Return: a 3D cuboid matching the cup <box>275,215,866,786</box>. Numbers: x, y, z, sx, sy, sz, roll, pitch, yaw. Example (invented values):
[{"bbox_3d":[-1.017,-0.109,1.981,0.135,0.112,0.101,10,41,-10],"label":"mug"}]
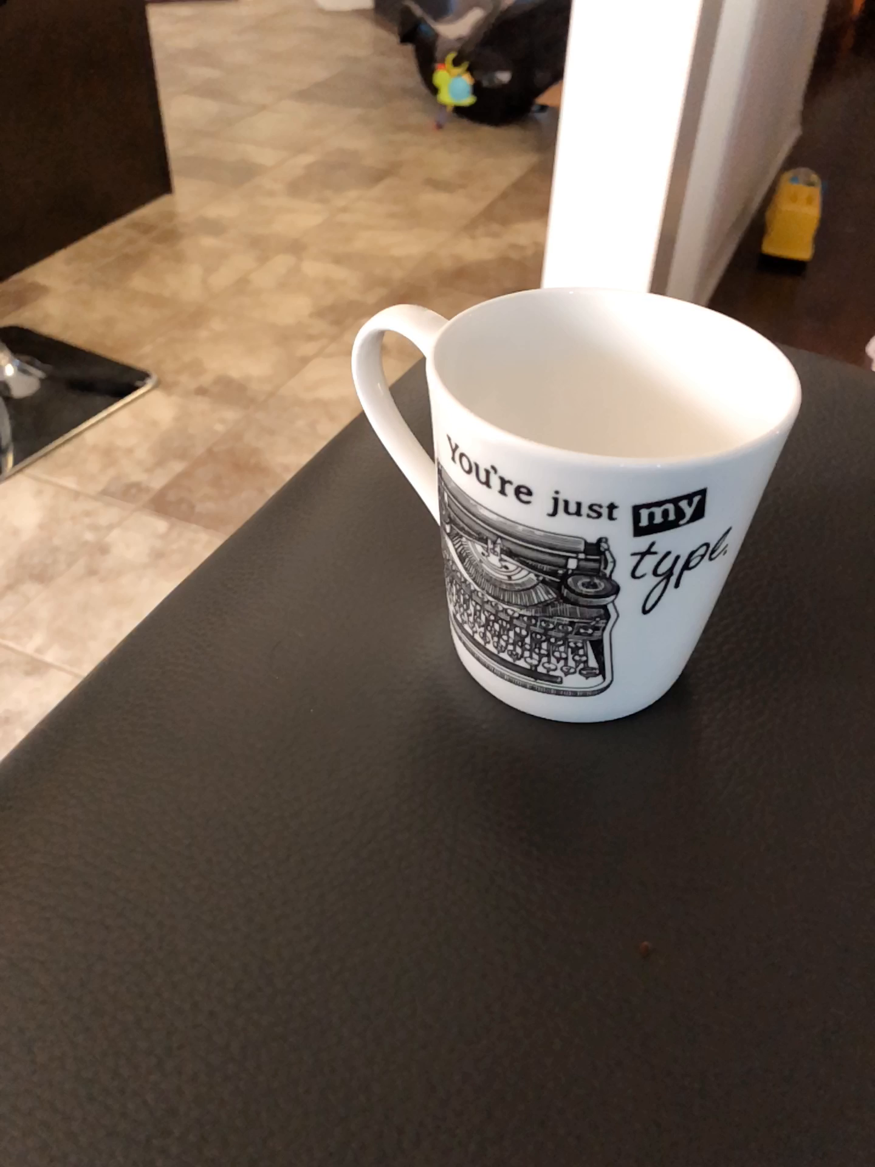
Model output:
[{"bbox_3d":[0.029,-0.029,0.265,0.117,0.089,0.081,30,48,28],"label":"cup"}]
